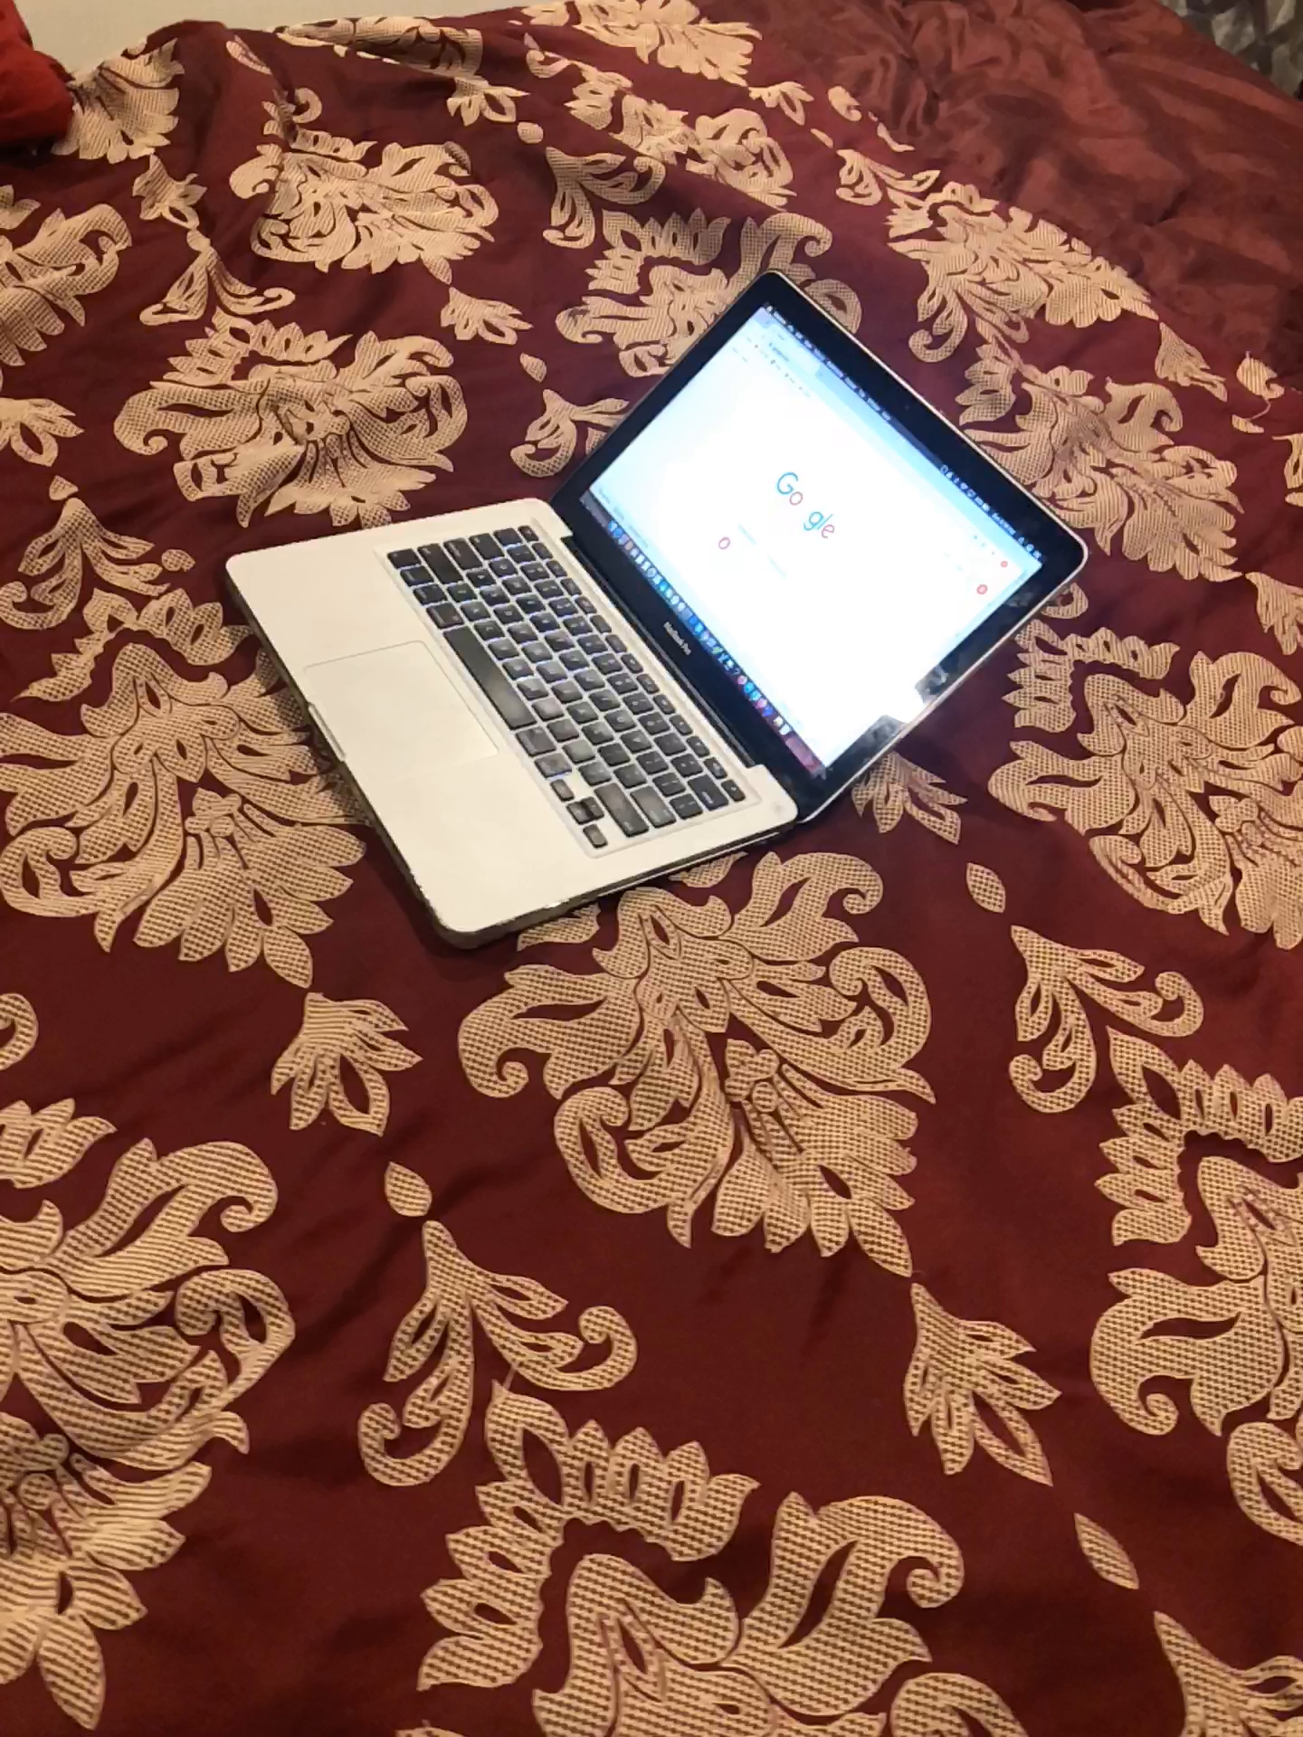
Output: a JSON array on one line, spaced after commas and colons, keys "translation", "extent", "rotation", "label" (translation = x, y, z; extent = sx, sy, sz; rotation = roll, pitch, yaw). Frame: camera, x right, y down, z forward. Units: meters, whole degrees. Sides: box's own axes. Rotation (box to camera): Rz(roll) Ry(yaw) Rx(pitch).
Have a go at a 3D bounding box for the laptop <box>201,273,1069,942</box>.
[{"translation": [-0.015, -0.163, 0.771], "extent": [0.343, 0.133, 0.293], "rotation": [-19, 56, -26], "label": "laptop"}]
